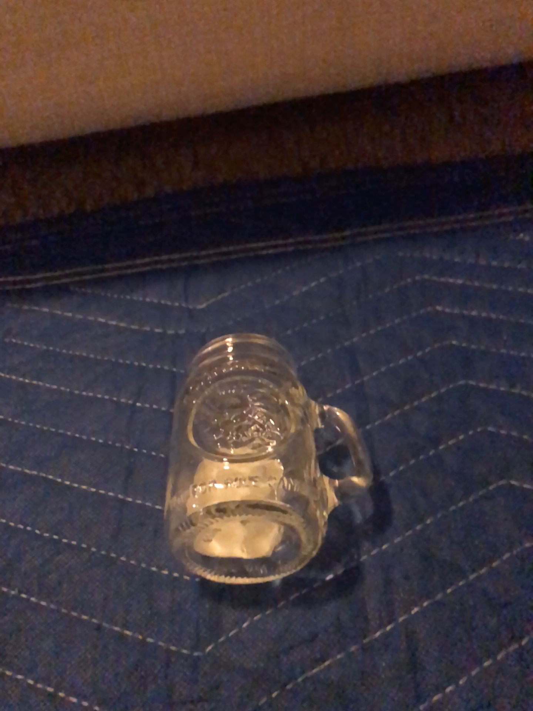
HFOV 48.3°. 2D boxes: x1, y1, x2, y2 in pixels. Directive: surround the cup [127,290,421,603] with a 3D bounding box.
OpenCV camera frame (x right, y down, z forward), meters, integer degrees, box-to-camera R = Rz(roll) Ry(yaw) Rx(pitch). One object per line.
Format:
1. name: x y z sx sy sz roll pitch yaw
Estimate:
1. cup: 0.000 0.030 0.224 0.088 0.043 0.096 -6 48 6
